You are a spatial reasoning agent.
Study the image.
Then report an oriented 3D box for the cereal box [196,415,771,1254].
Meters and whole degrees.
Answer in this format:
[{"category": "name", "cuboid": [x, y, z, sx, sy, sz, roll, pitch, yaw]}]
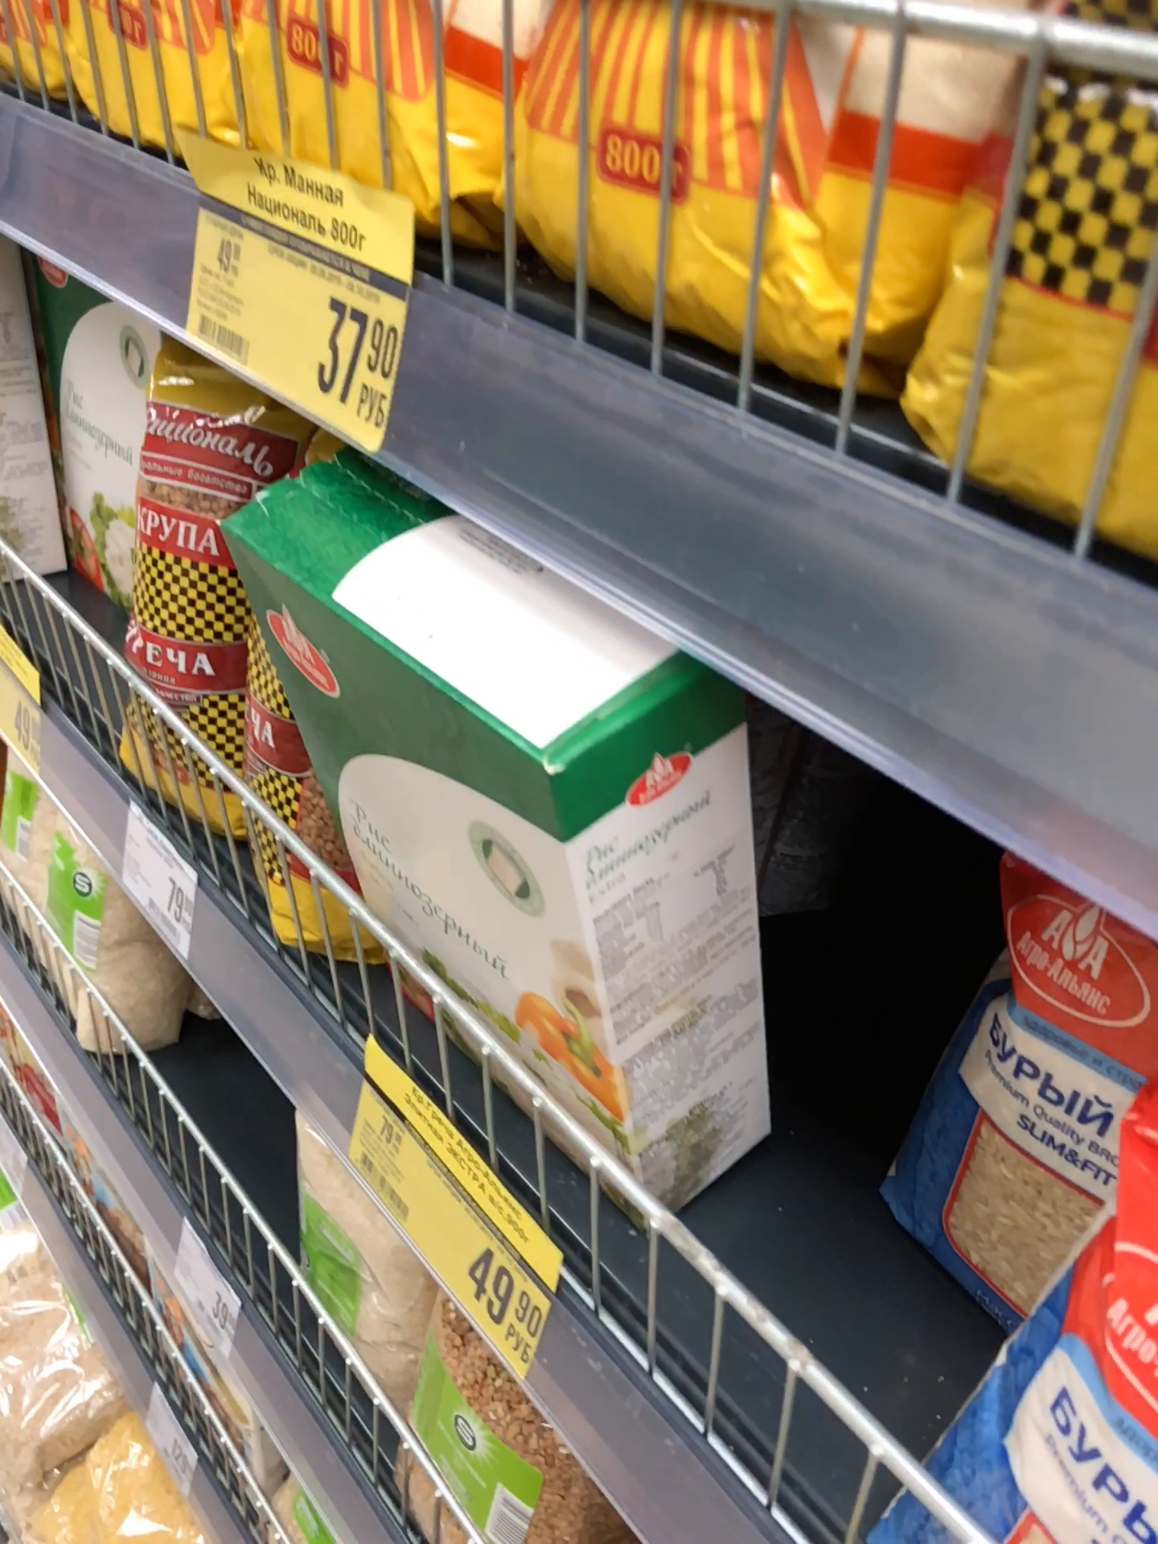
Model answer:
[{"category": "cereal box", "cuboid": [-0.018, 0.024, 0.363, 0.050, 0.209, 0.140, -35, 49, -23]}]
